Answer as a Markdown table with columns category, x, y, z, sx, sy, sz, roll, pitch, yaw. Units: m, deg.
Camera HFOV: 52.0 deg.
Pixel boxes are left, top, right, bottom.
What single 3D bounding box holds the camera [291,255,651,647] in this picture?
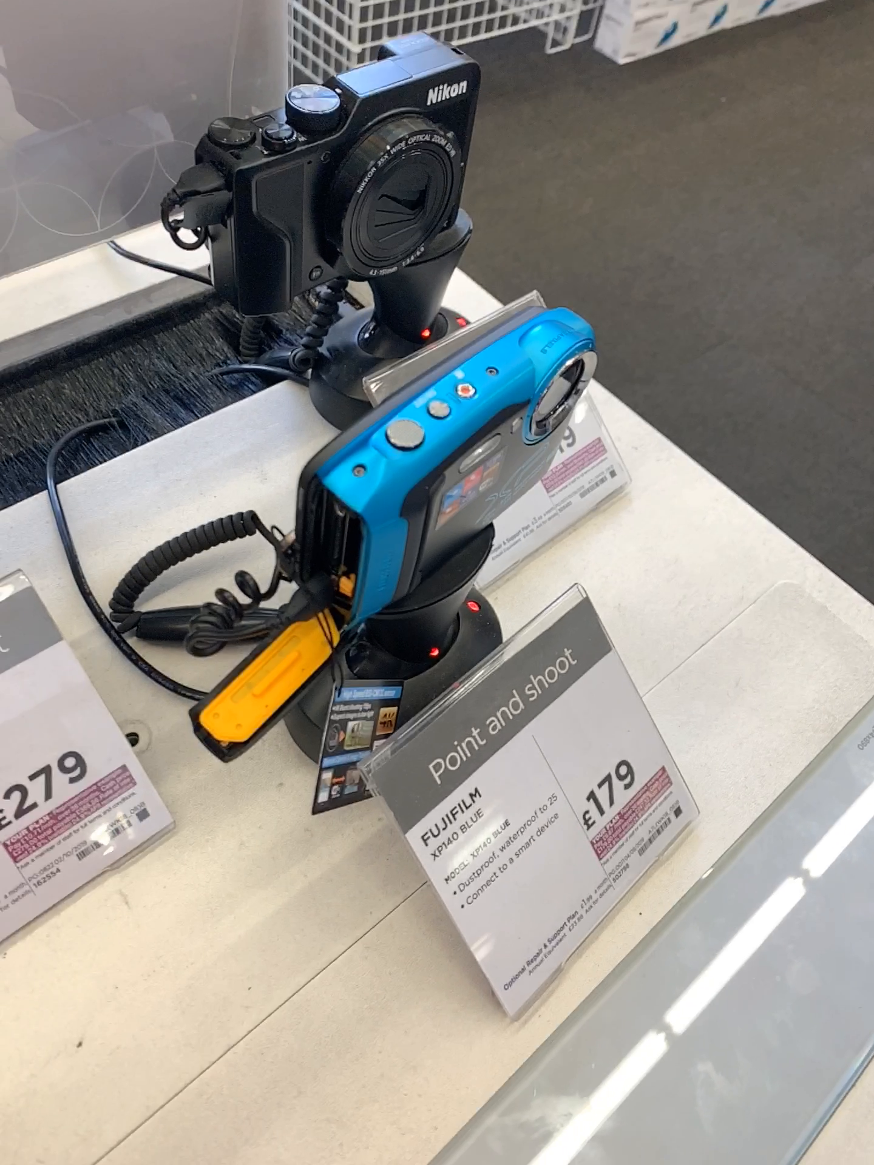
| category | x | y | z | sx | sy | sz | roll | pitch | yaw |
| --- | --- | --- | --- | --- | --- | --- | --- | --- | --- |
| camera | 0.010 | -0.039 | 0.254 | 0.030 | 0.060 | 0.111 | 38 | 57 | 18 |
